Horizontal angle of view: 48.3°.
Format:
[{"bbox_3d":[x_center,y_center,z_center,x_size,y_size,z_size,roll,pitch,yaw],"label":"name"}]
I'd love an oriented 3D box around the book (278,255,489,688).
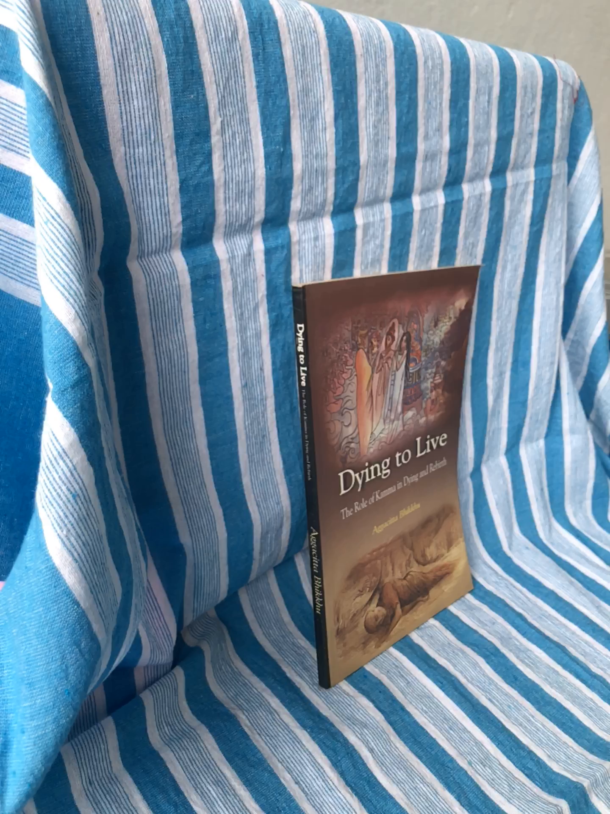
[{"bbox_3d":[0.054,0.024,0.384,0.020,0.210,0.151,4,13,43],"label":"book"}]
